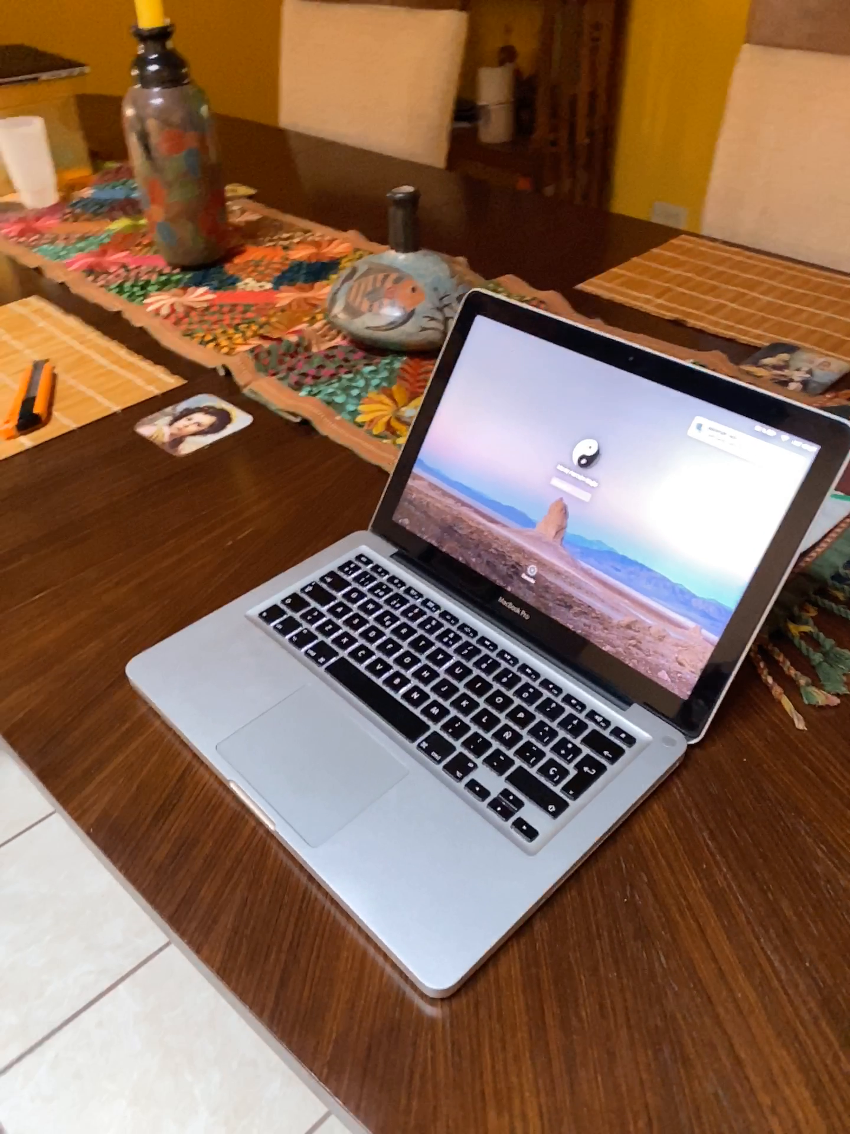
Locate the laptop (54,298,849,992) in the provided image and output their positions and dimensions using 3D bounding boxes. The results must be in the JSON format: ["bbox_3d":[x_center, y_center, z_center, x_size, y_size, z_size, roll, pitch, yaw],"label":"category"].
[{"bbox_3d":[0.021,-0.001,0.576,0.358,0.171,0.325,-32,47,-31],"label":"laptop"}]
